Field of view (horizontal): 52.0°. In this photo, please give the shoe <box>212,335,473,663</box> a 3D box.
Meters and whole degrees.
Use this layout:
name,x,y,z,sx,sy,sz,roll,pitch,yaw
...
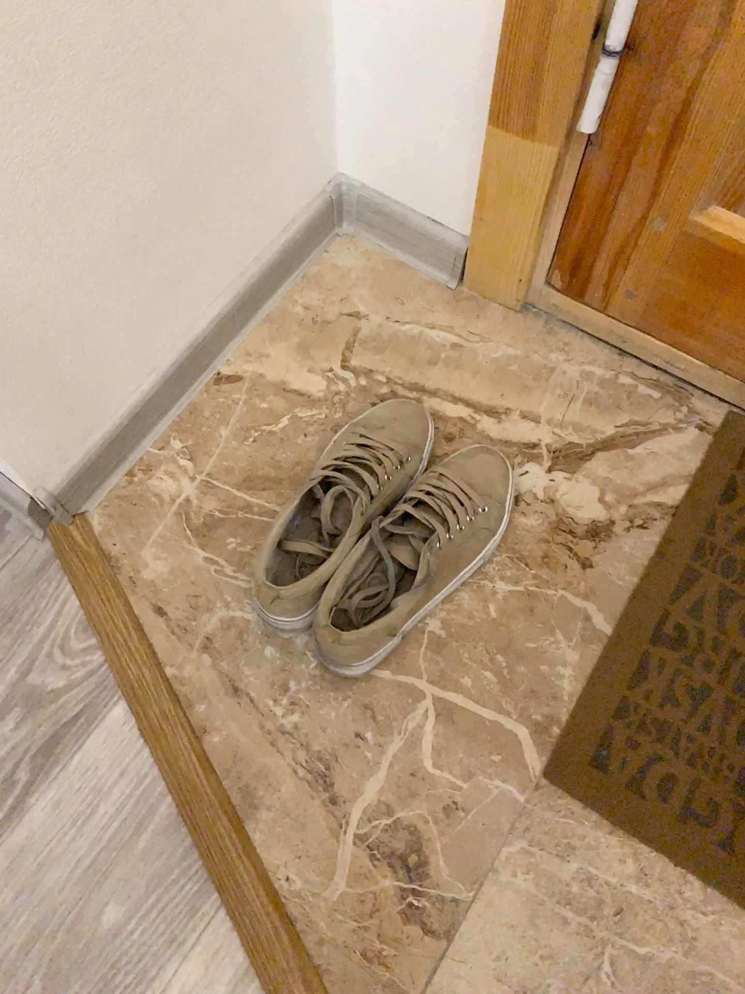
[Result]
name,x,y,z,sx,sy,sz,roll,pitch,yaw
shoe,-0.017,-0.001,0.632,0.090,0.100,0.240,27,67,13

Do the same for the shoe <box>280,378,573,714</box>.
name,x,y,z,sx,sy,sz,roll,pitch,yaw
shoe,0.045,0.037,0.603,0.090,0.100,0.240,35,69,16
